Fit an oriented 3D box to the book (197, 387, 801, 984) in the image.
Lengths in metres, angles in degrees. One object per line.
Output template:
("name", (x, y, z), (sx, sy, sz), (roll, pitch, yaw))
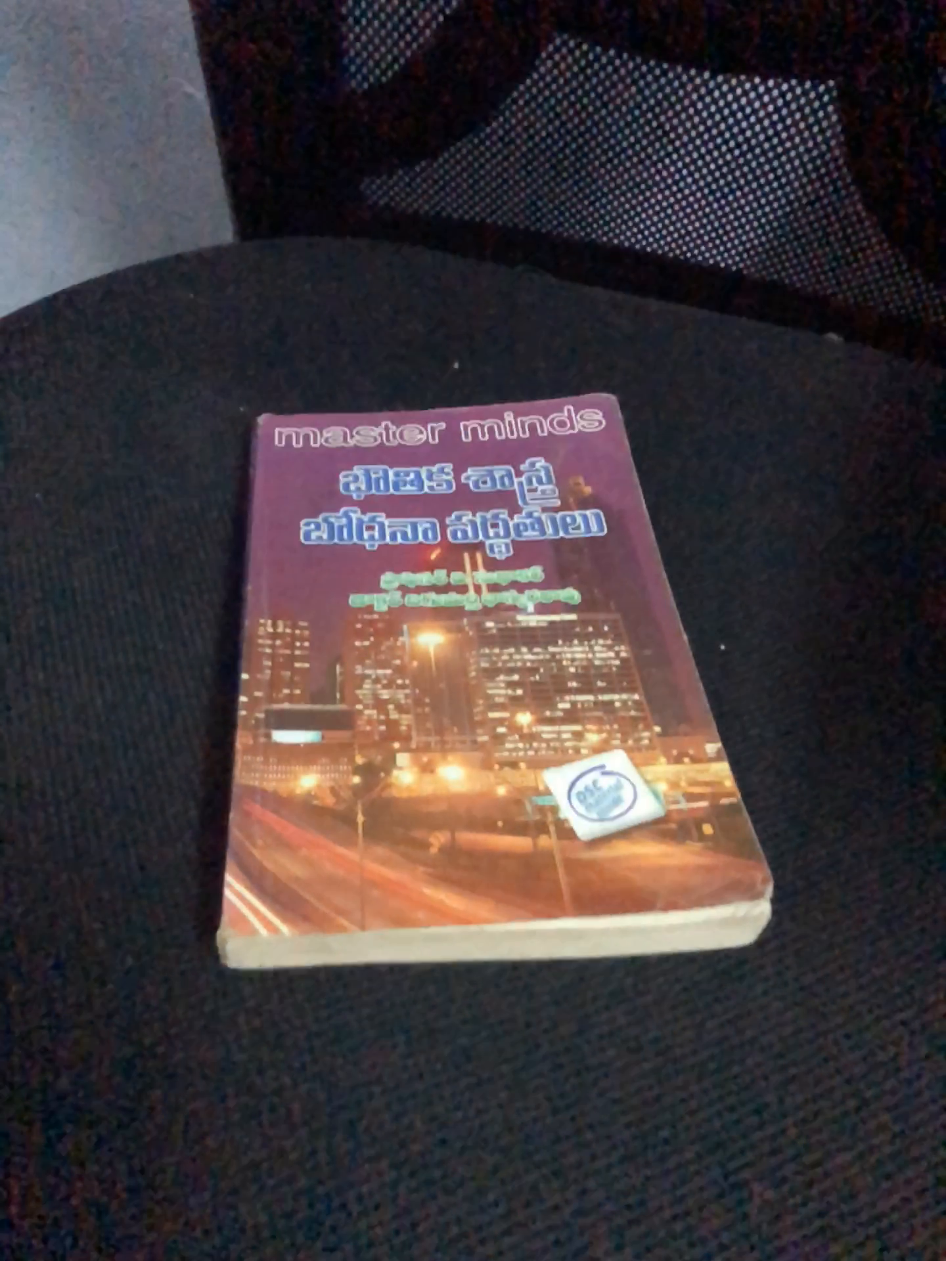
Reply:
("book", (-0.004, -0.002, 0.331), (0.146, 0.027, 0.219), (1, 46, -10))
